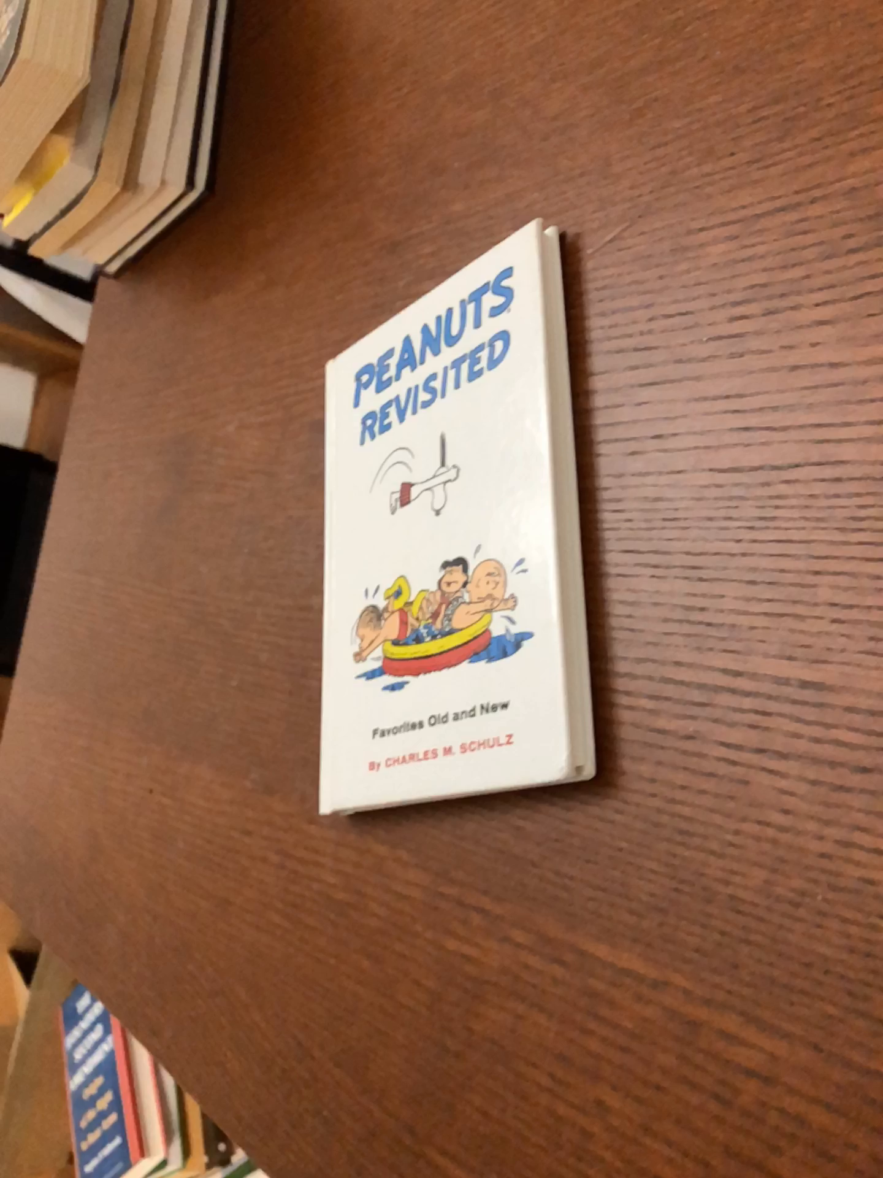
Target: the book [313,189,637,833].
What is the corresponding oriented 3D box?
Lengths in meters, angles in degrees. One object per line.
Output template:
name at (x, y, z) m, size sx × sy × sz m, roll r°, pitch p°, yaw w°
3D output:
book at (0.002, -0.022, 0.386) m, size 0.150 × 0.020 × 0.220 m, roll -20°, pitch 65°, yaw 46°
